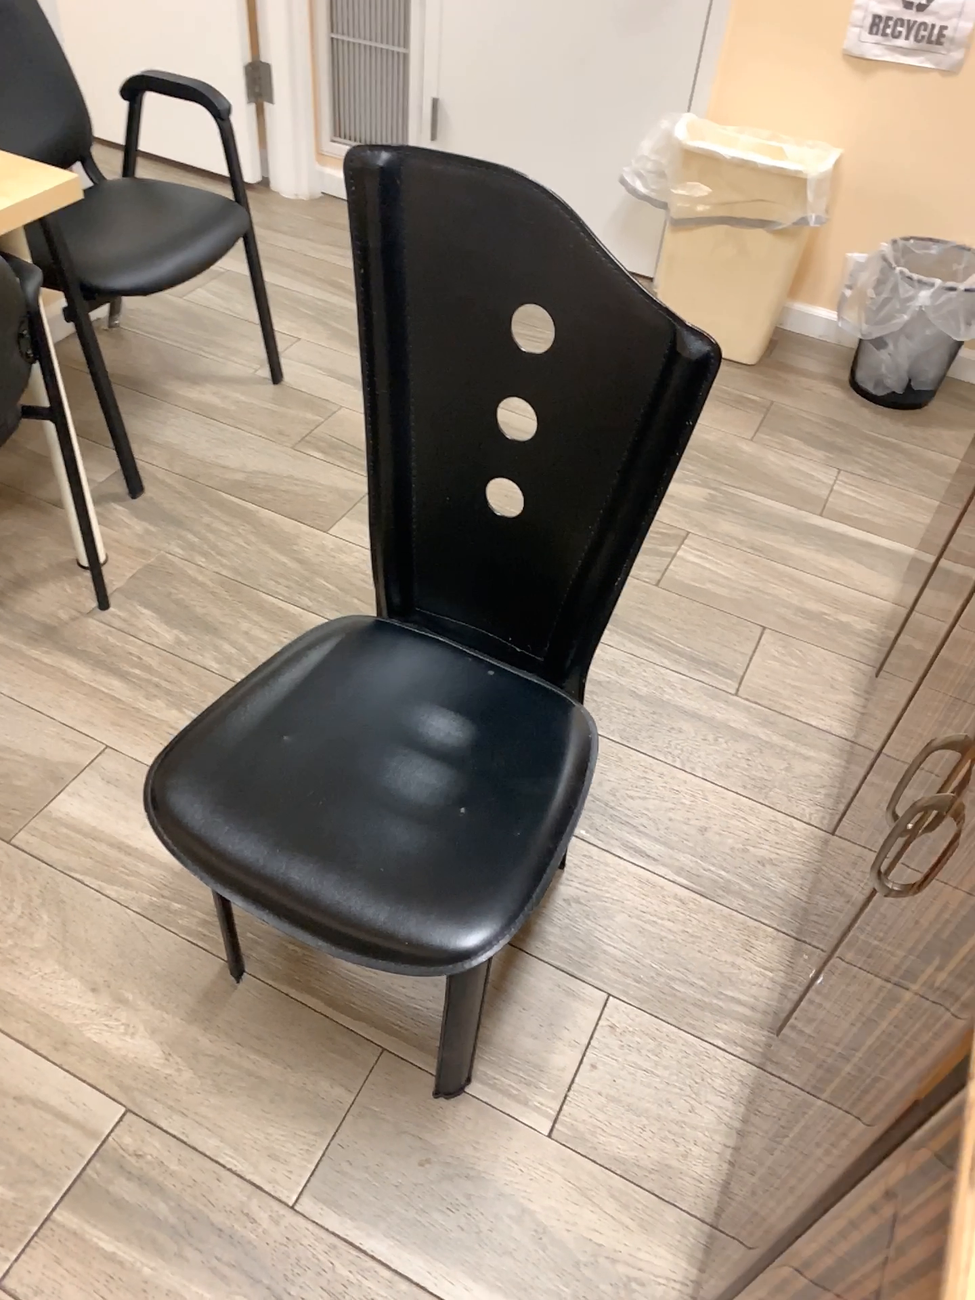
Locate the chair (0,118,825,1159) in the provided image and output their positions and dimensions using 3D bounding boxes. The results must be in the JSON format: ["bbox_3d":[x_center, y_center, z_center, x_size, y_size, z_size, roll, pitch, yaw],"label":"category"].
[{"bbox_3d":[-0.070,0.049,1.067,0.462,0.941,0.475,23,47,15],"label":"chair"}]
